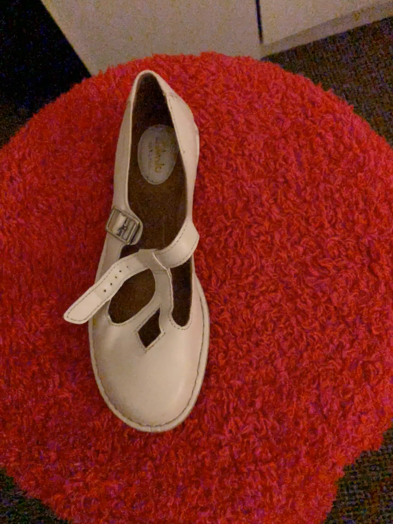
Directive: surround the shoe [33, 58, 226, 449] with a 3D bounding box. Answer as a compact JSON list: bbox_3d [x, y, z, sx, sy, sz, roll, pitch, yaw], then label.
[{"bbox_3d":[-0.042,-0.007,0.310,0.100,0.090,0.261,-6,72,12],"label":"shoe"}]
